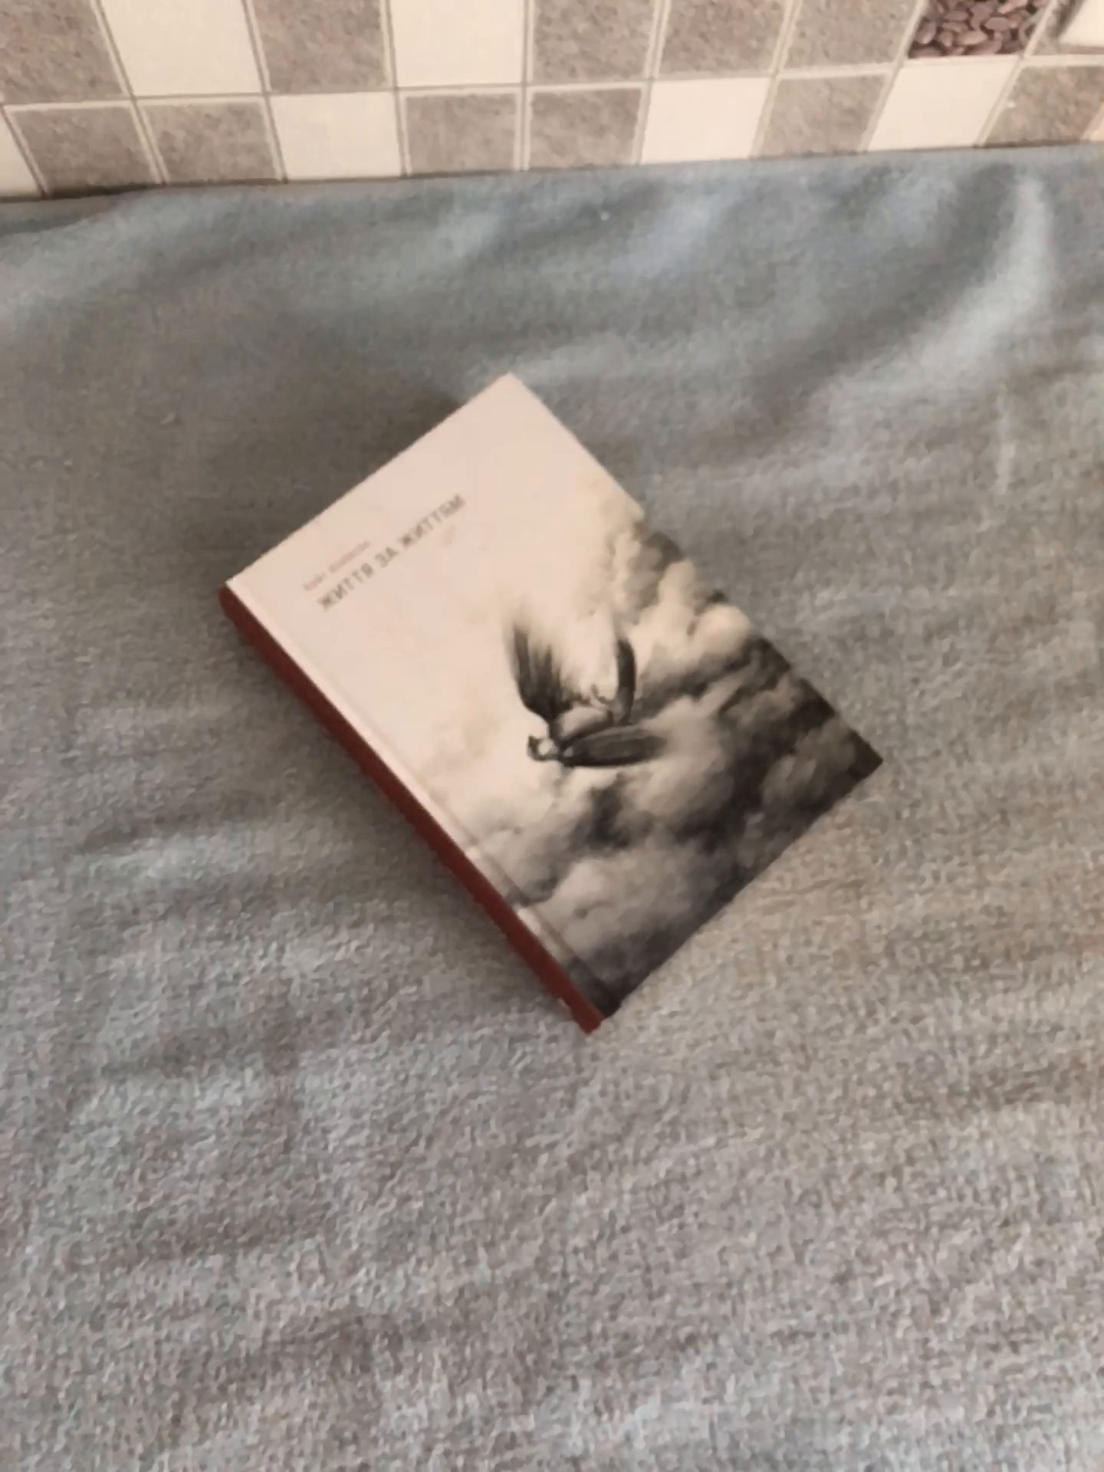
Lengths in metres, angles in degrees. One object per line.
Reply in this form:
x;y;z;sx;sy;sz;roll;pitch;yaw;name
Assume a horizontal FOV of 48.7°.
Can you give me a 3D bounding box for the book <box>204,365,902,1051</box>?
-0.001;-0.015;0.477;0.155;0.040;0.220;-40;81;-13;book
